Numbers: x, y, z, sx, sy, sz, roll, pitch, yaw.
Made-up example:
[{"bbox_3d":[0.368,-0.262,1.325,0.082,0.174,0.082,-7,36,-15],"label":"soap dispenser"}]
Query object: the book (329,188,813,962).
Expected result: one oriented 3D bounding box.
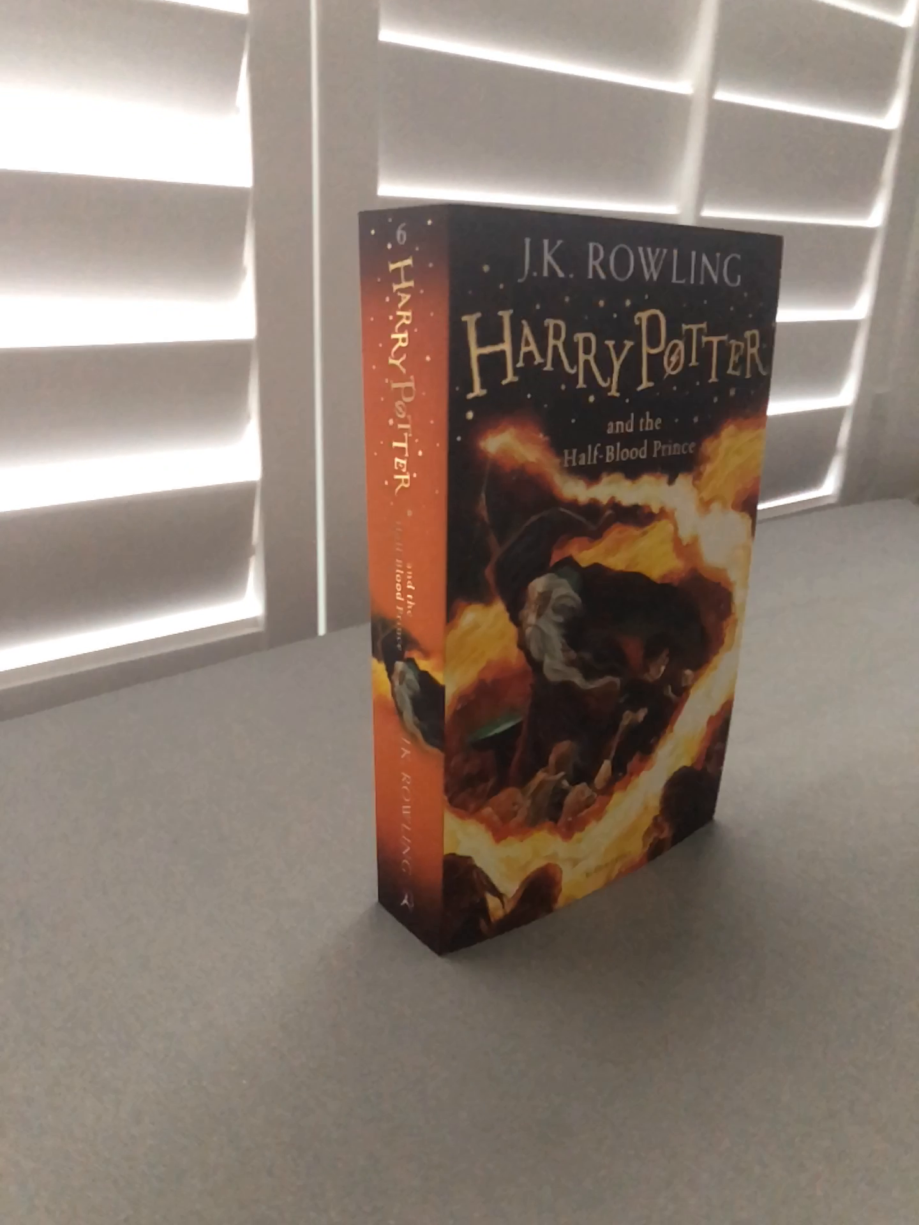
[{"bbox_3d":[0.037,-0.017,0.308,0.142,0.194,0.047,-14,21,-38],"label":"book"}]
